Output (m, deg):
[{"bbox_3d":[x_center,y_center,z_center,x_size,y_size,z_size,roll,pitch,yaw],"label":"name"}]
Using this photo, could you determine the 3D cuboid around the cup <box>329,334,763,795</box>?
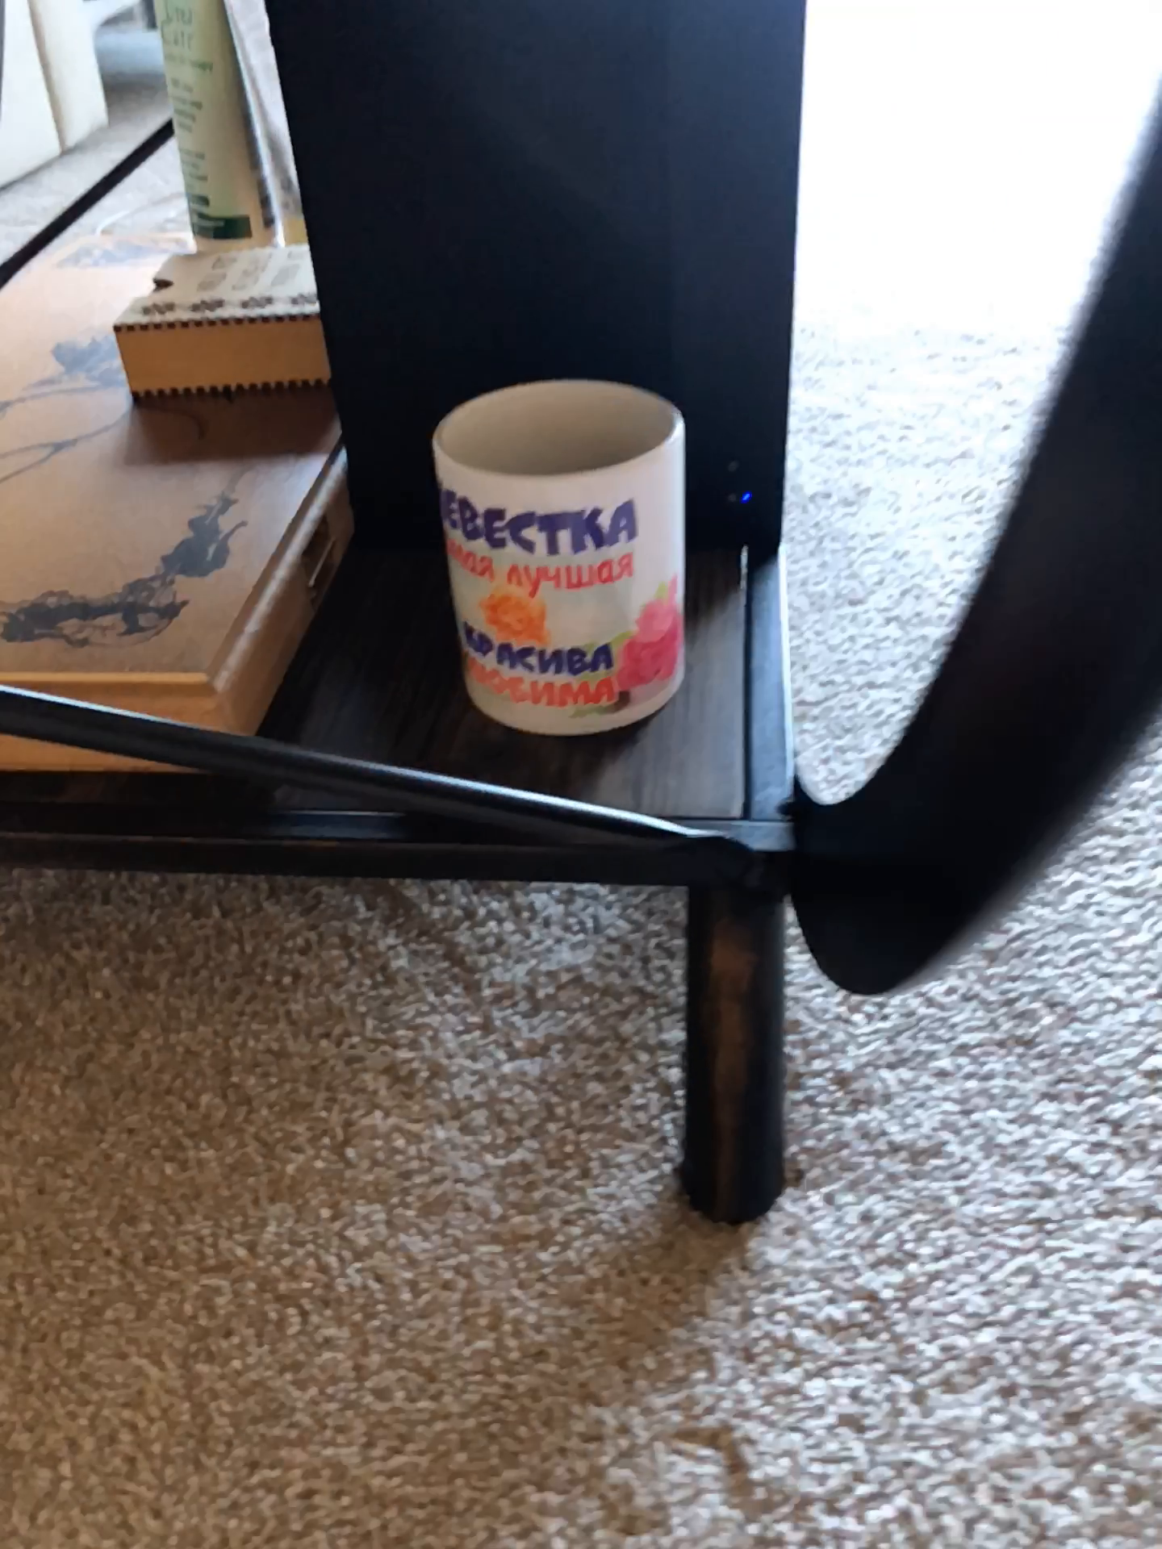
[{"bbox_3d":[-0.004,-0.083,0.468,0.090,0.099,0.141,16,41,24],"label":"cup"}]
